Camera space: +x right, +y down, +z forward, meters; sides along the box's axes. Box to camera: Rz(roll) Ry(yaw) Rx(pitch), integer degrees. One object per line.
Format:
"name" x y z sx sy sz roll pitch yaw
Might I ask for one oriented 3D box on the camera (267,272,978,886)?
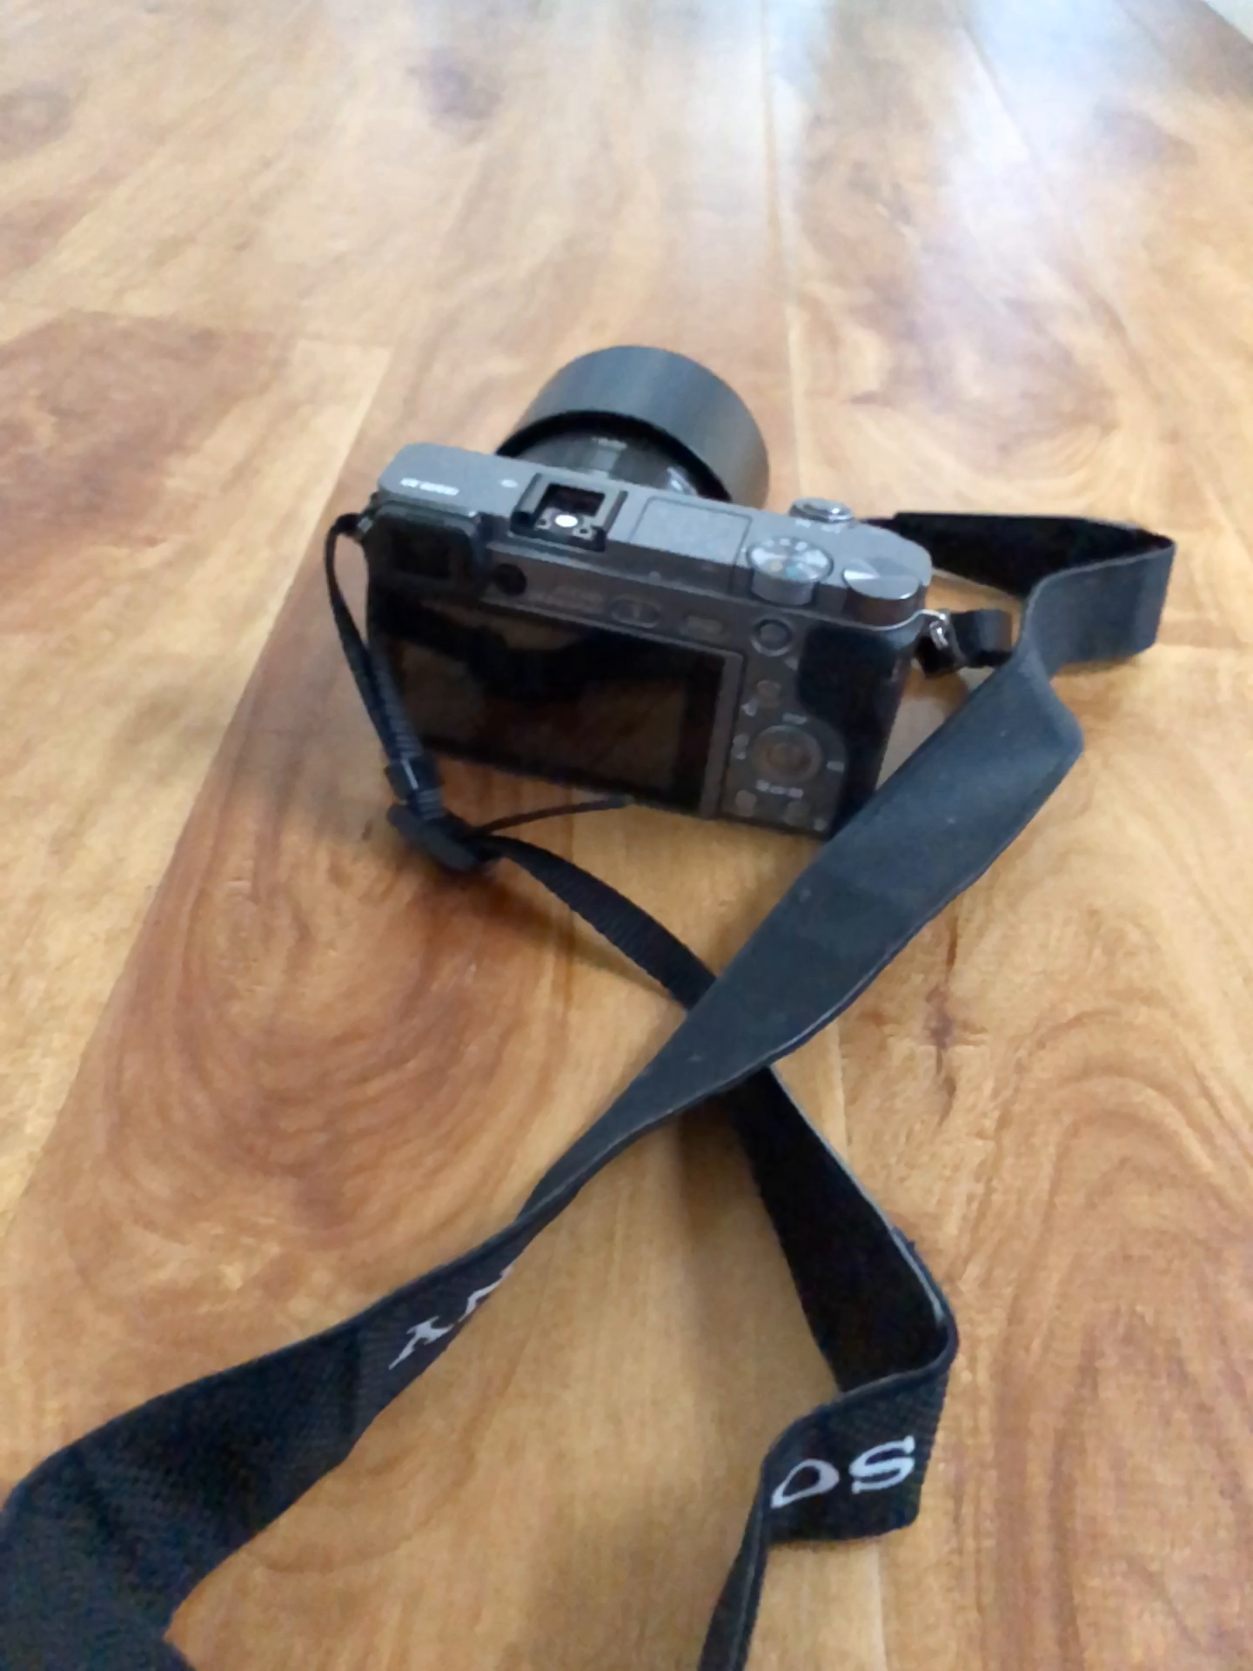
"camera" 0.004 -0.068 0.344 0.140 0.080 0.111 13 42 7
